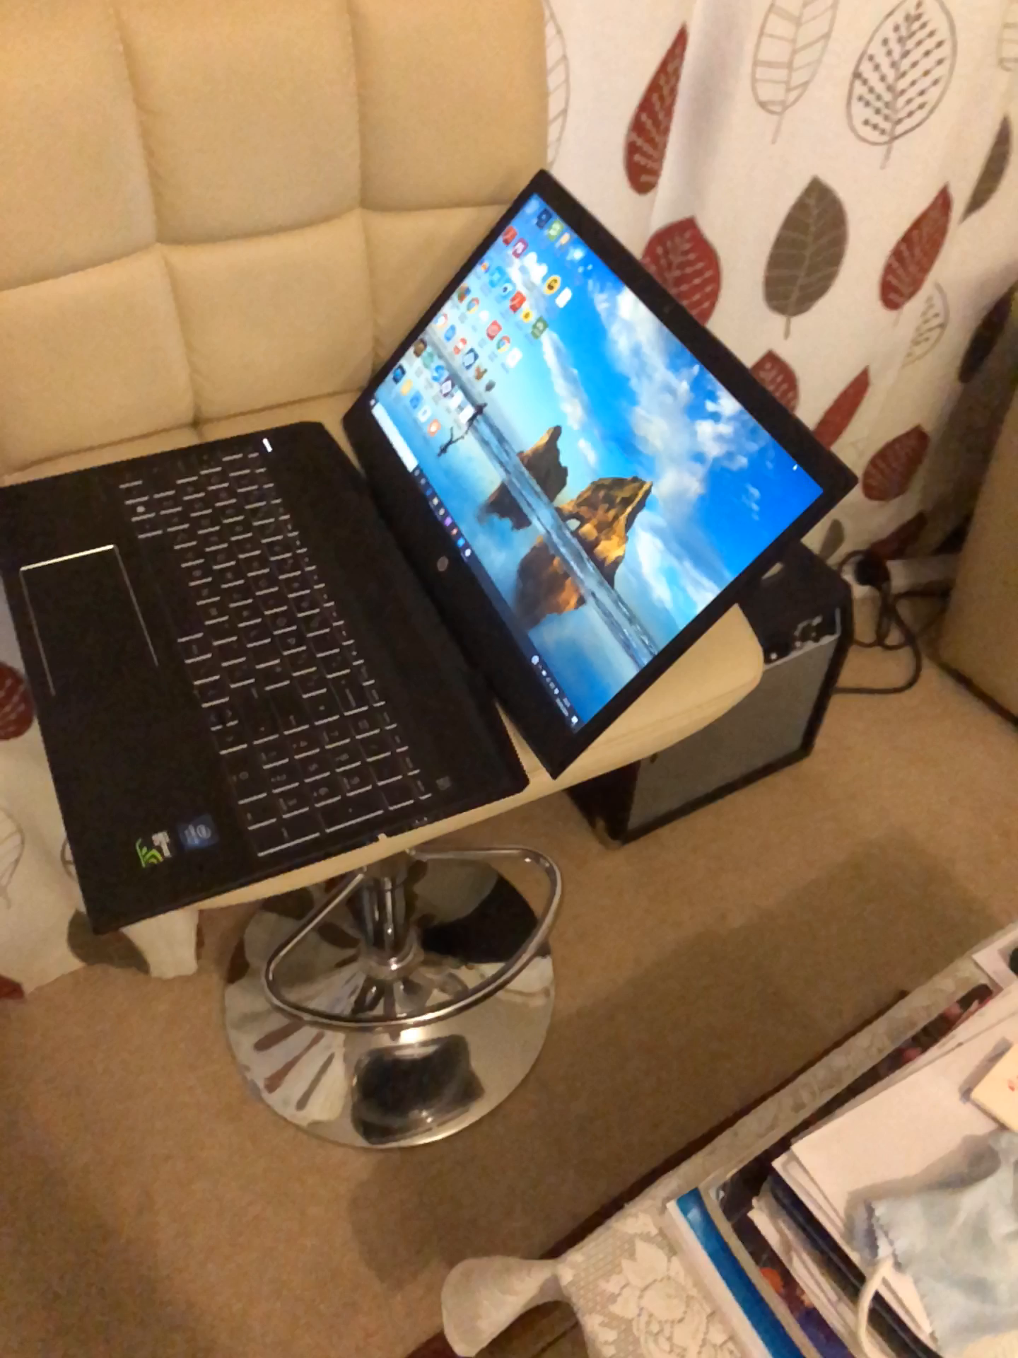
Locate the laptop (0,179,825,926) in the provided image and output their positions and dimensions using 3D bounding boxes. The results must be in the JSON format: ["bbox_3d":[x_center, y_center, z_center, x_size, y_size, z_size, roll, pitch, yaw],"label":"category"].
[{"bbox_3d":[-0.099,-0.111,0.647,0.401,0.159,0.349,-17,52,-20],"label":"laptop"}]
